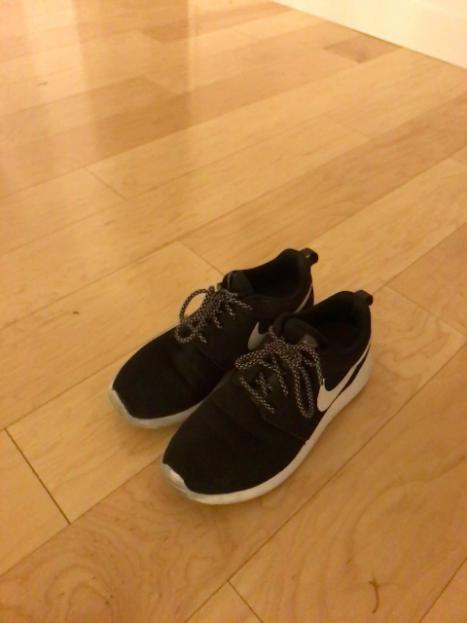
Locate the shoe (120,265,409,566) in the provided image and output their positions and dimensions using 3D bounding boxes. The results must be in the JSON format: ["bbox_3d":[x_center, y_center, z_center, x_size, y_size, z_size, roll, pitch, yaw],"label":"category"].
[{"bbox_3d":[0.042,0.083,0.510,0.110,0.099,0.291,34,52,26],"label":"shoe"}]

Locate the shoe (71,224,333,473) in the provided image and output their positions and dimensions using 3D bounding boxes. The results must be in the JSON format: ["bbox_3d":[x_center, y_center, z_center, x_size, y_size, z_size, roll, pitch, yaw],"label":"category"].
[{"bbox_3d":[-0.020,0.025,0.570,0.100,0.099,0.291,34,52,26],"label":"shoe"}]
